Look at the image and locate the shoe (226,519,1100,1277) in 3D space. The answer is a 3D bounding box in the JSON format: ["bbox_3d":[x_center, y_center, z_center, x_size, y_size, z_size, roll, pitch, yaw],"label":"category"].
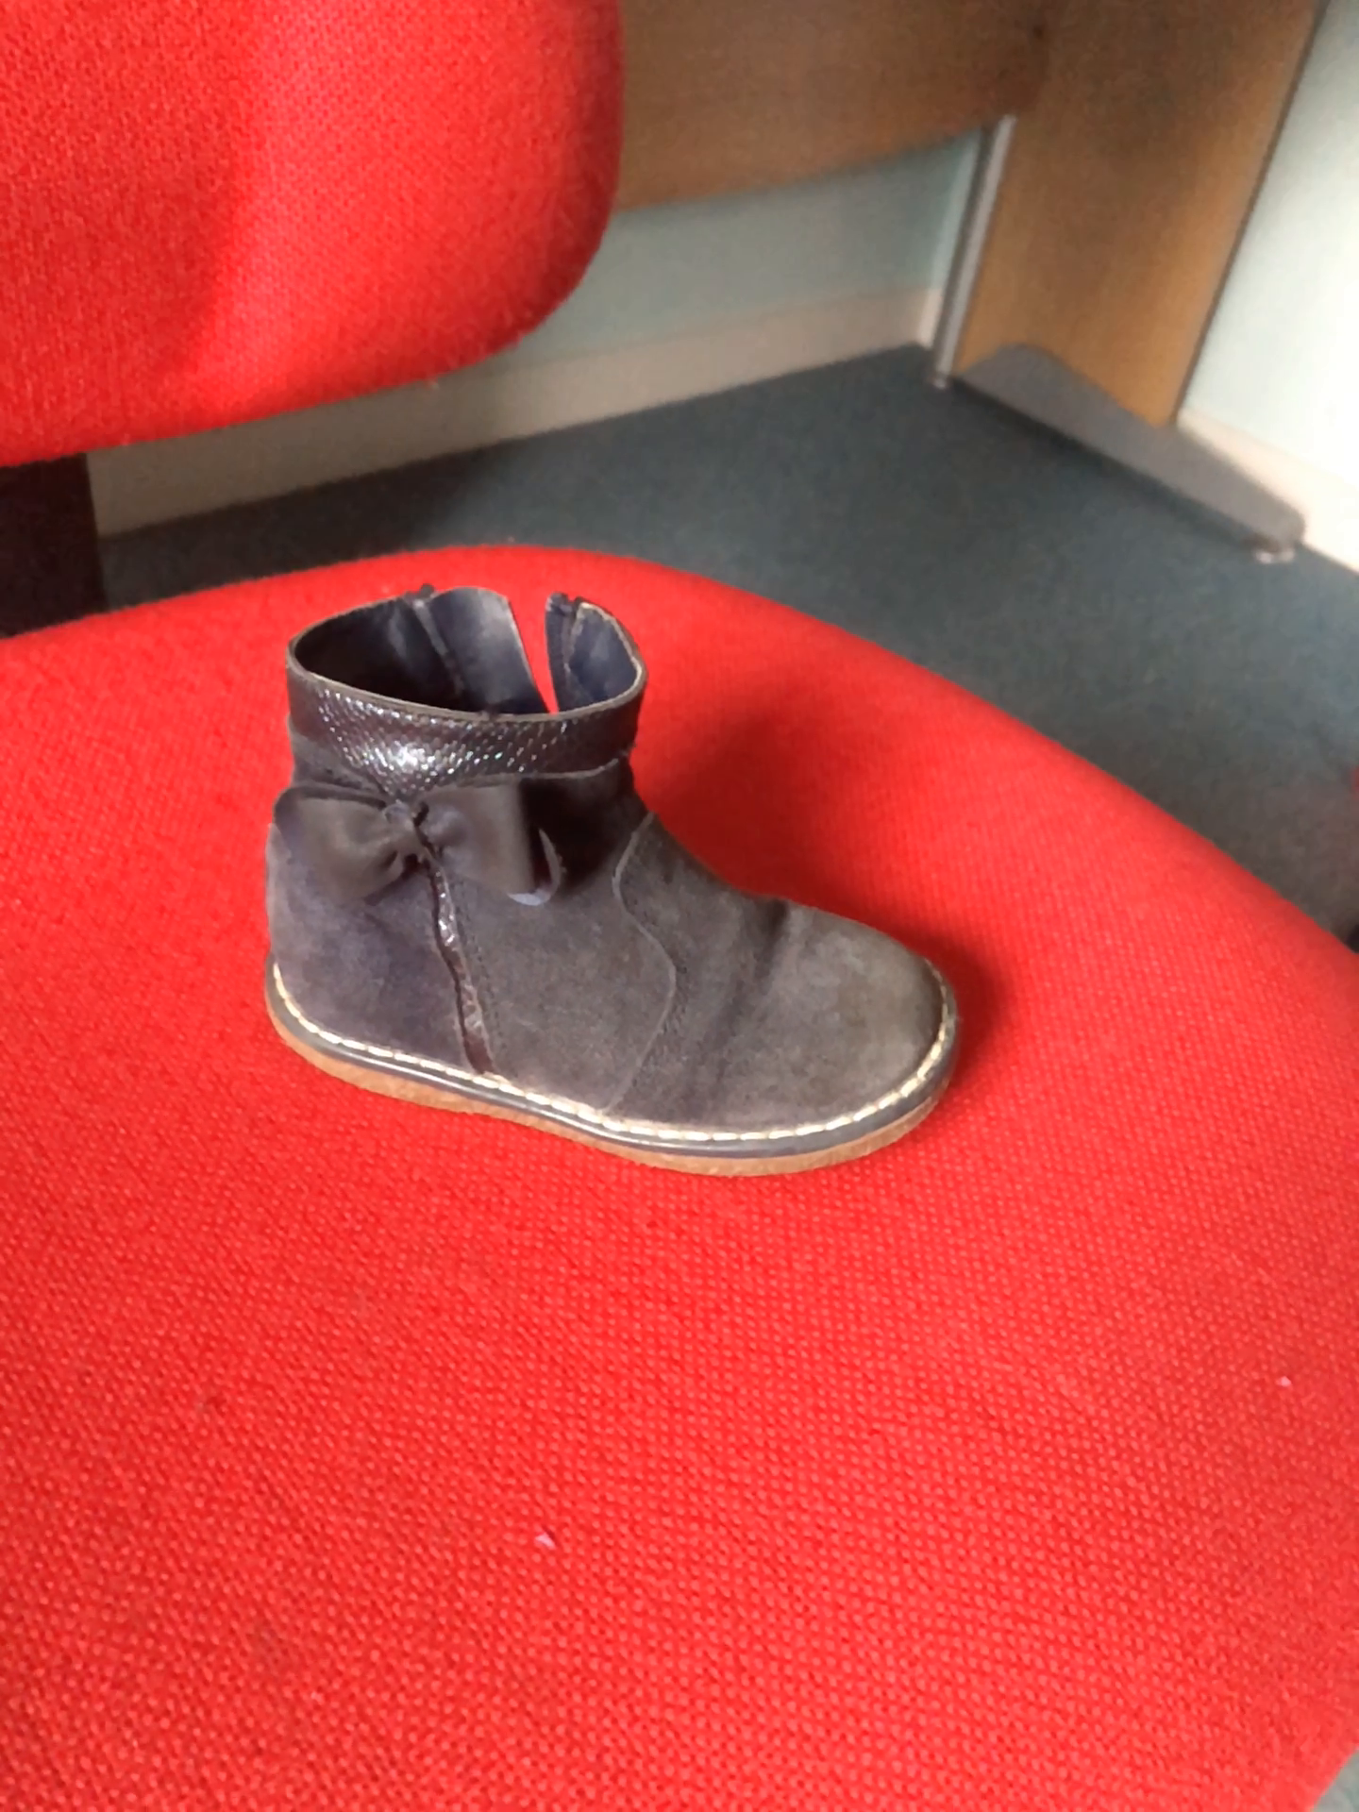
[{"bbox_3d":[-0.004,-0.002,0.314,0.150,0.099,0.081,13,41,2],"label":"shoe"}]
